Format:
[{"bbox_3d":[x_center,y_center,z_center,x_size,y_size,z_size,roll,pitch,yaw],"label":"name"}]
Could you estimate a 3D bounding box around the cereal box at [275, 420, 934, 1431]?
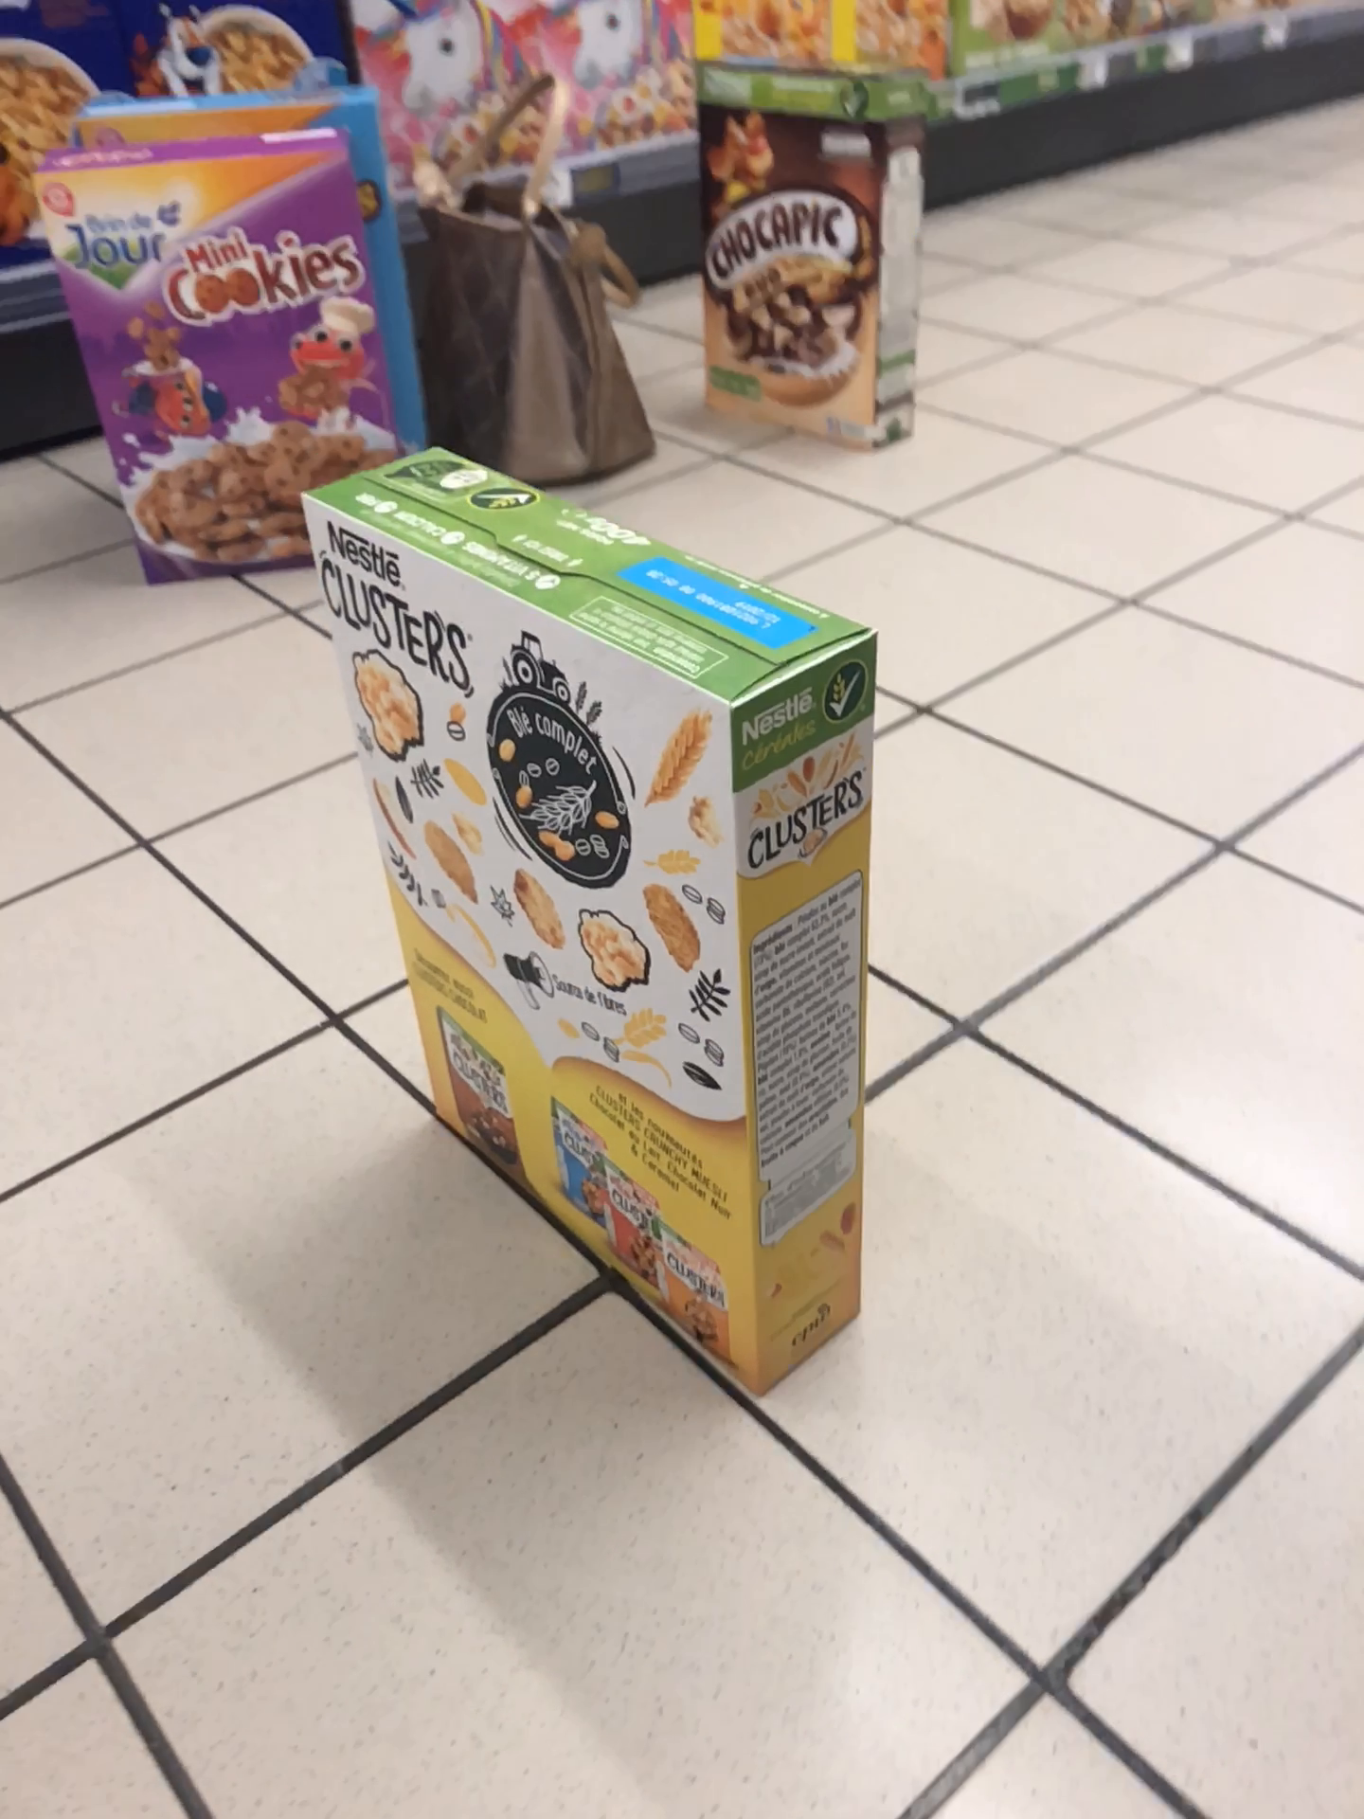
[{"bbox_3d":[-0.025,0.007,0.500,0.060,0.278,0.210,-31,45,-32],"label":"cereal box"}]
